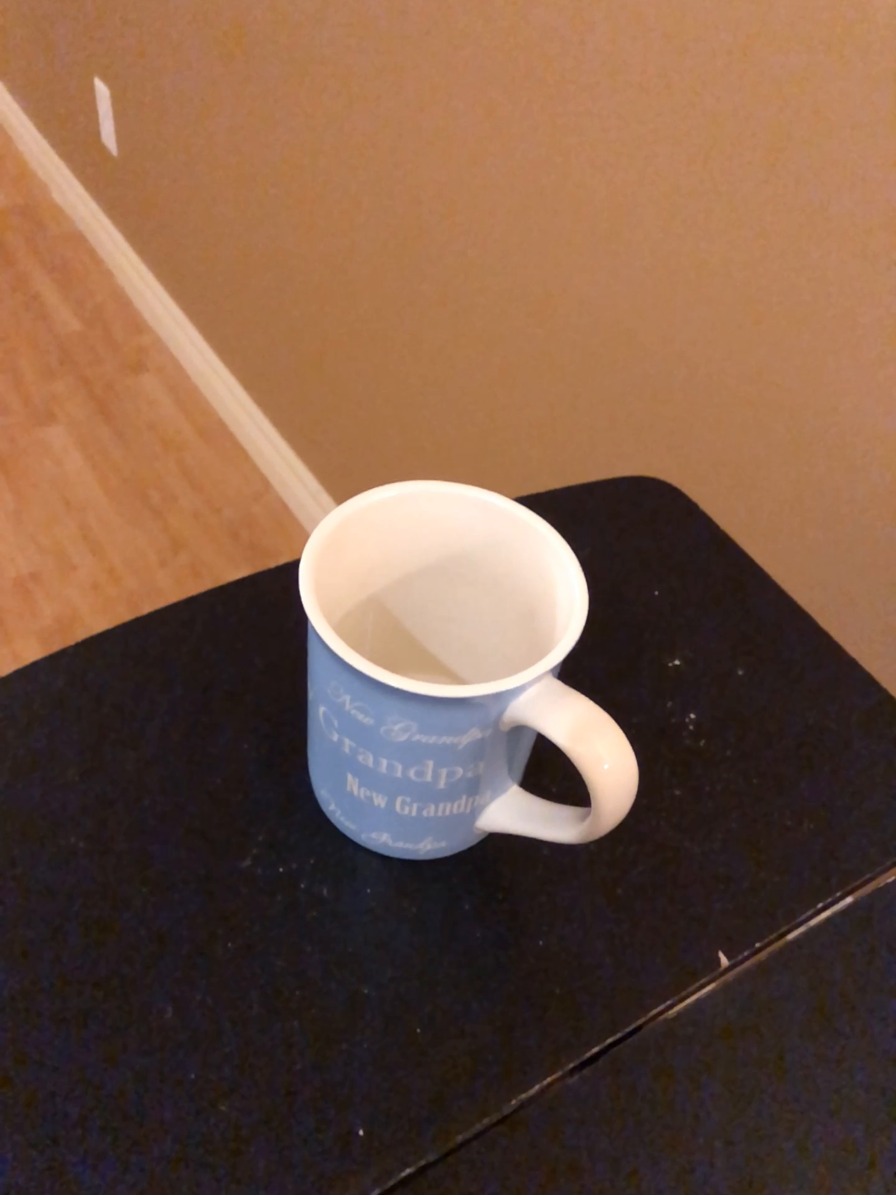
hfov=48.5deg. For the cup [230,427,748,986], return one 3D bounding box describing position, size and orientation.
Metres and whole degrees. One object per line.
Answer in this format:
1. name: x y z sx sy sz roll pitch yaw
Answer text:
1. cup: 0.008 0.035 0.351 0.130 0.110 0.100 35 52 21
